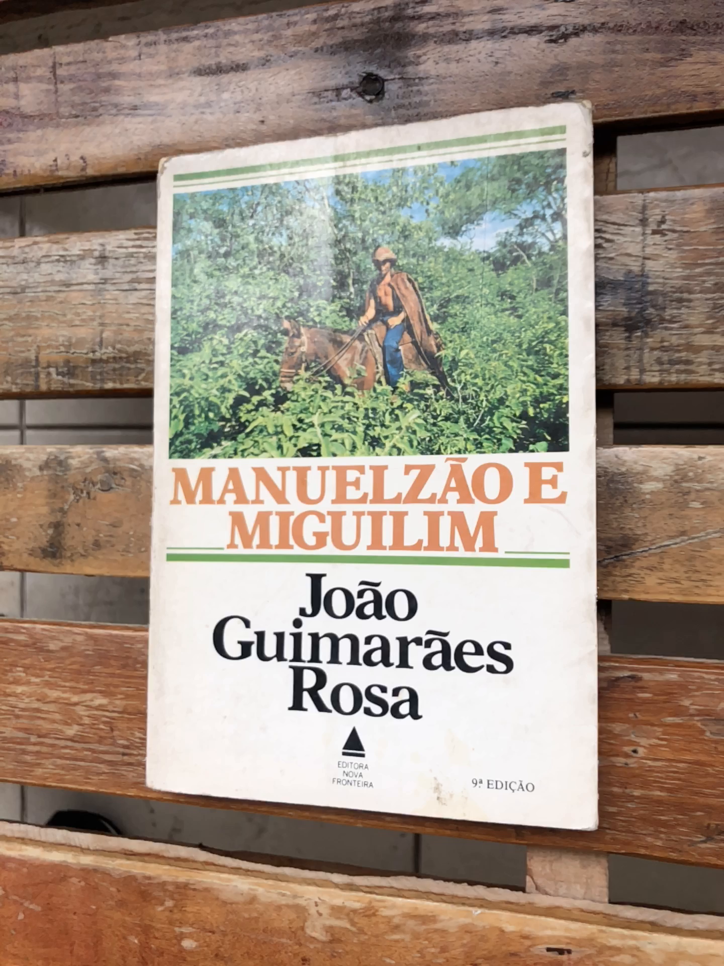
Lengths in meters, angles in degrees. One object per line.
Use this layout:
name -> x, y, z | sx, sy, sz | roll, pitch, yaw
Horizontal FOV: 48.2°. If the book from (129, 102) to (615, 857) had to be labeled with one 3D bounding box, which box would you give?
book -> -0.001, -0.001, 0.242 | 0.141, 0.020, 0.200 | -1, 87, 15
